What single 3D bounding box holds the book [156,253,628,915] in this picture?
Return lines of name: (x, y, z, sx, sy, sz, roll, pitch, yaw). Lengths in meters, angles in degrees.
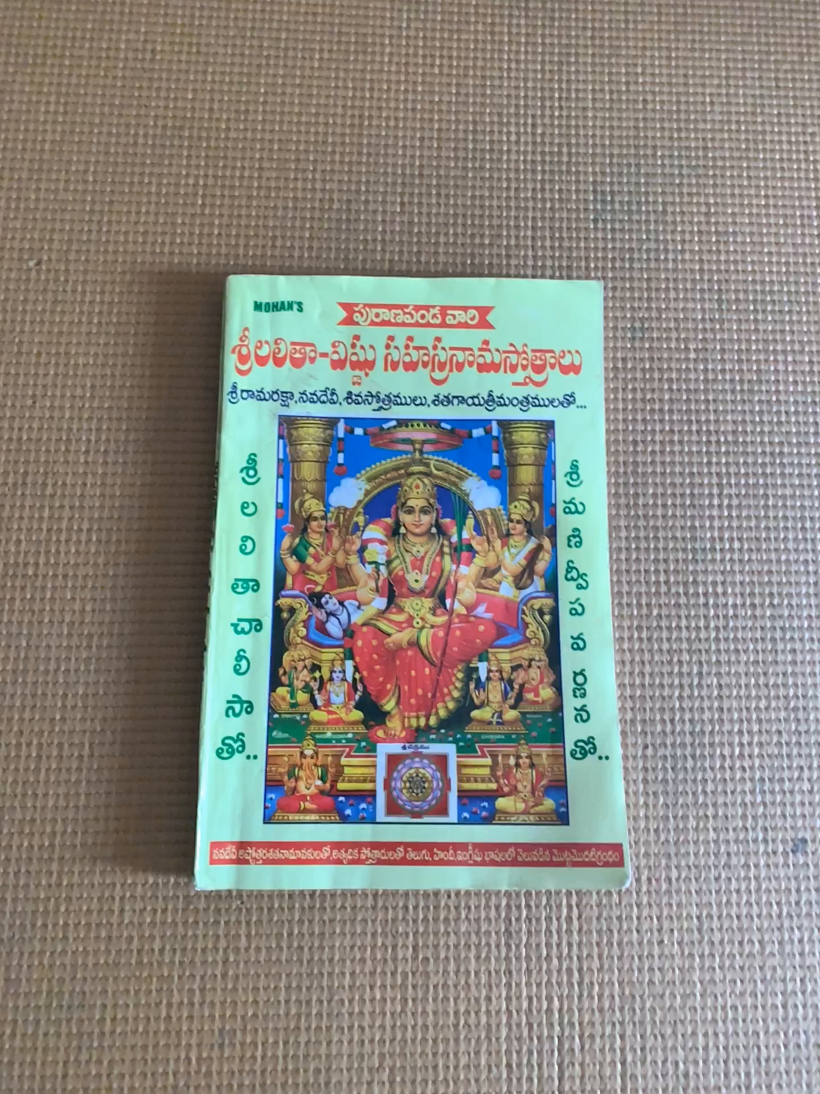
book: (-0.005, 0.007, 0.280, 0.140, 0.020, 0.210, 1, 79, -3)
